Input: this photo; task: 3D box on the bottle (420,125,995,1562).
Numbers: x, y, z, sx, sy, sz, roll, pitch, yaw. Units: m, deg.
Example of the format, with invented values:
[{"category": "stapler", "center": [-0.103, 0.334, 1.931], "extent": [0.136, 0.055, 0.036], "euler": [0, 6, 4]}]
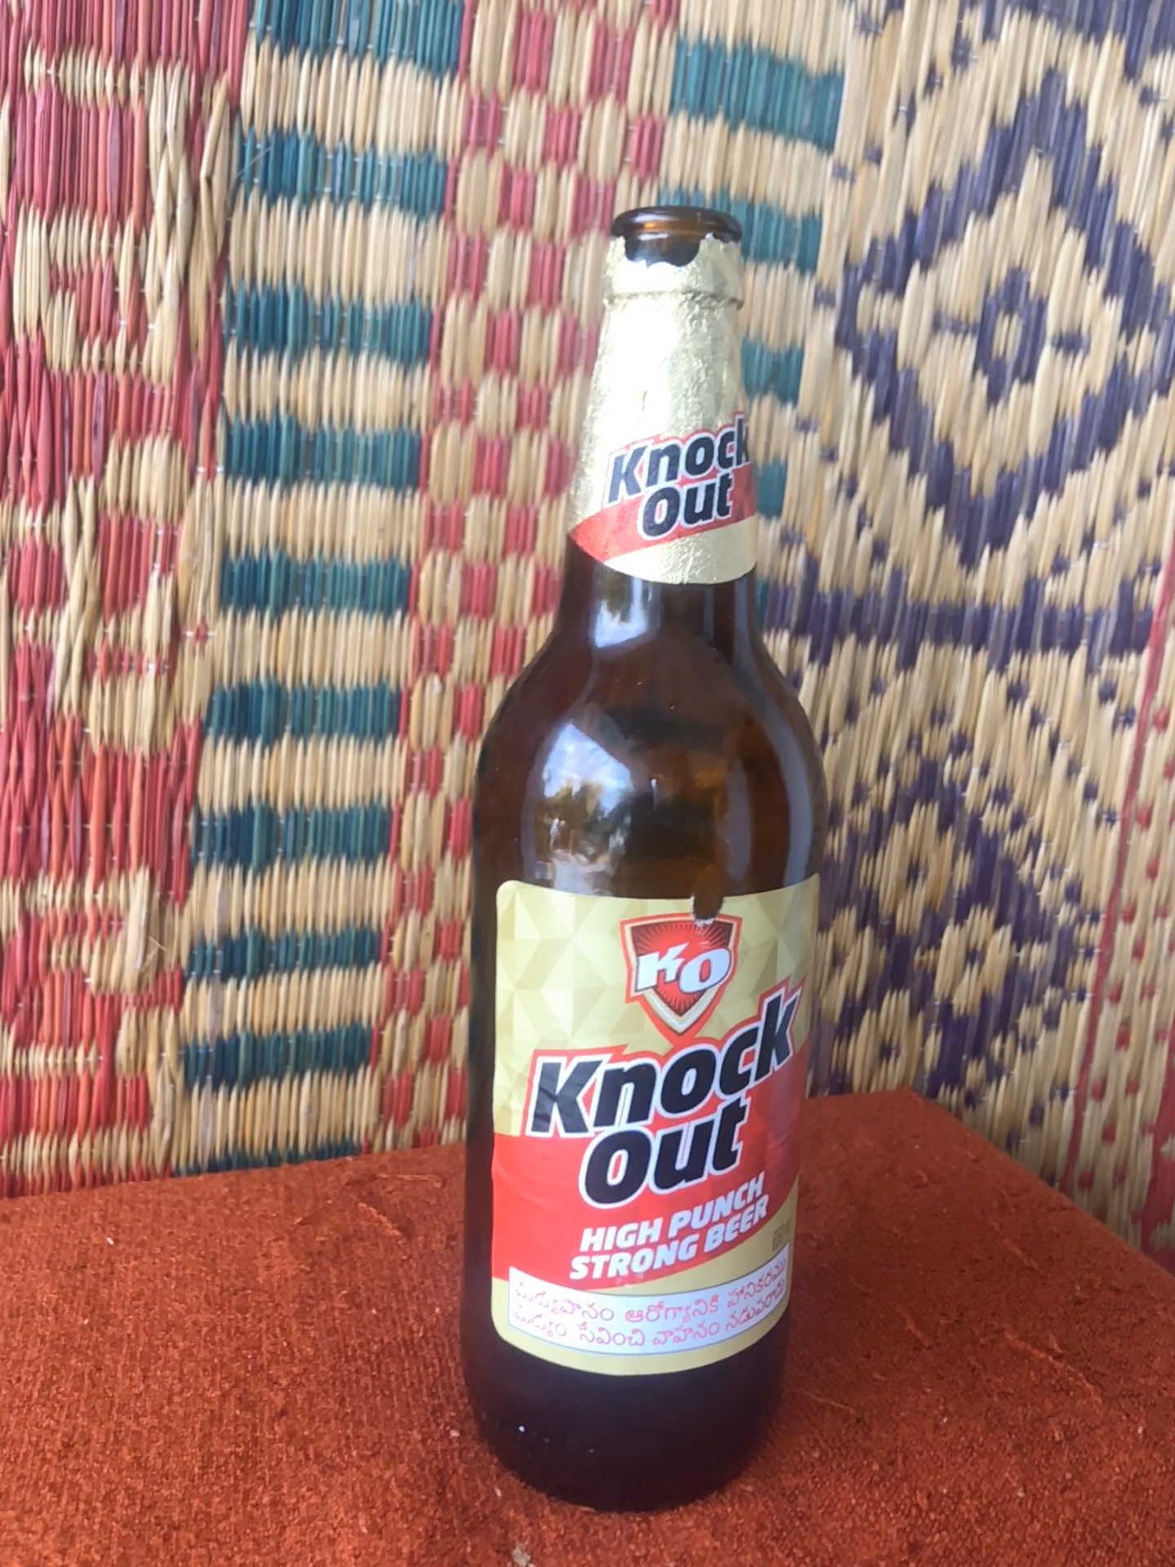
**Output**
[{"category": "bottle", "center": [0.013, 0.016, 0.262], "extent": [0.070, 0.249, 0.070], "euler": [4, 13, -1]}]
